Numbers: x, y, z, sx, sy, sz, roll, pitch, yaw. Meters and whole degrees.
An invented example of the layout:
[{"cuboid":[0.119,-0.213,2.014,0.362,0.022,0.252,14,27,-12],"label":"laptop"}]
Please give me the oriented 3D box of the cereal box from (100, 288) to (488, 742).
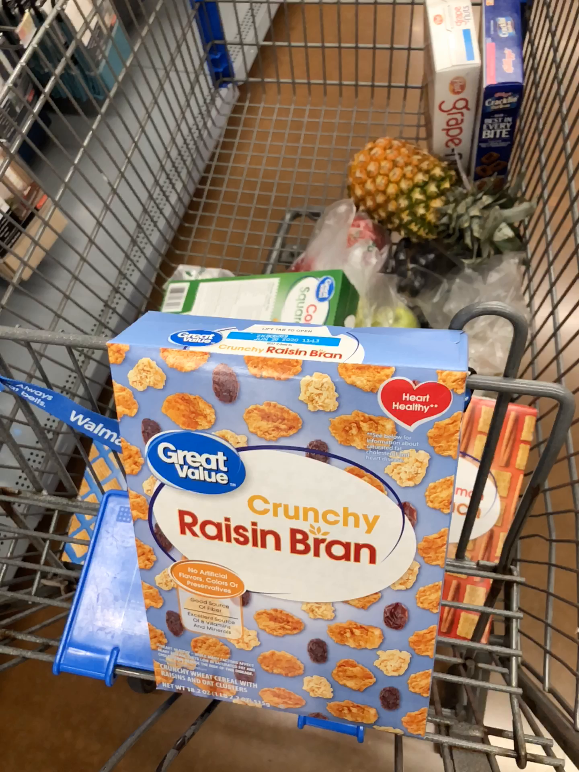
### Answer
[{"cuboid":[0.003,0.087,0.416,0.200,0.280,0.070,5,25,10],"label":"cereal box"}]
